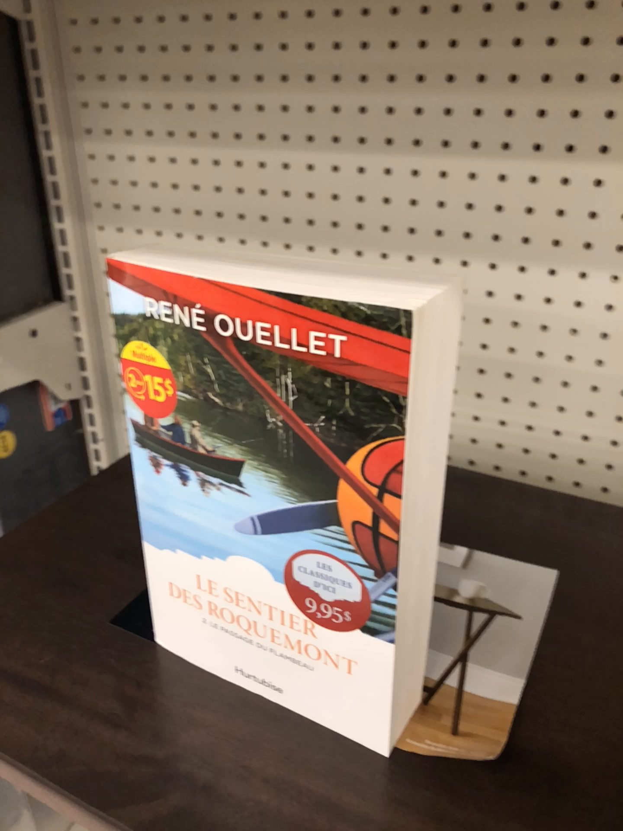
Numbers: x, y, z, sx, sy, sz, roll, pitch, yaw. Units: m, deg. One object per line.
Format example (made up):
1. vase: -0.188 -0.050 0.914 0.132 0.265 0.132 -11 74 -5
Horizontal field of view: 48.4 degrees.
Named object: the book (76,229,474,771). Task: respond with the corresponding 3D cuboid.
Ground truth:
1. book: -0.019 0.034 0.329 0.153 0.215 0.065 14 28 27
